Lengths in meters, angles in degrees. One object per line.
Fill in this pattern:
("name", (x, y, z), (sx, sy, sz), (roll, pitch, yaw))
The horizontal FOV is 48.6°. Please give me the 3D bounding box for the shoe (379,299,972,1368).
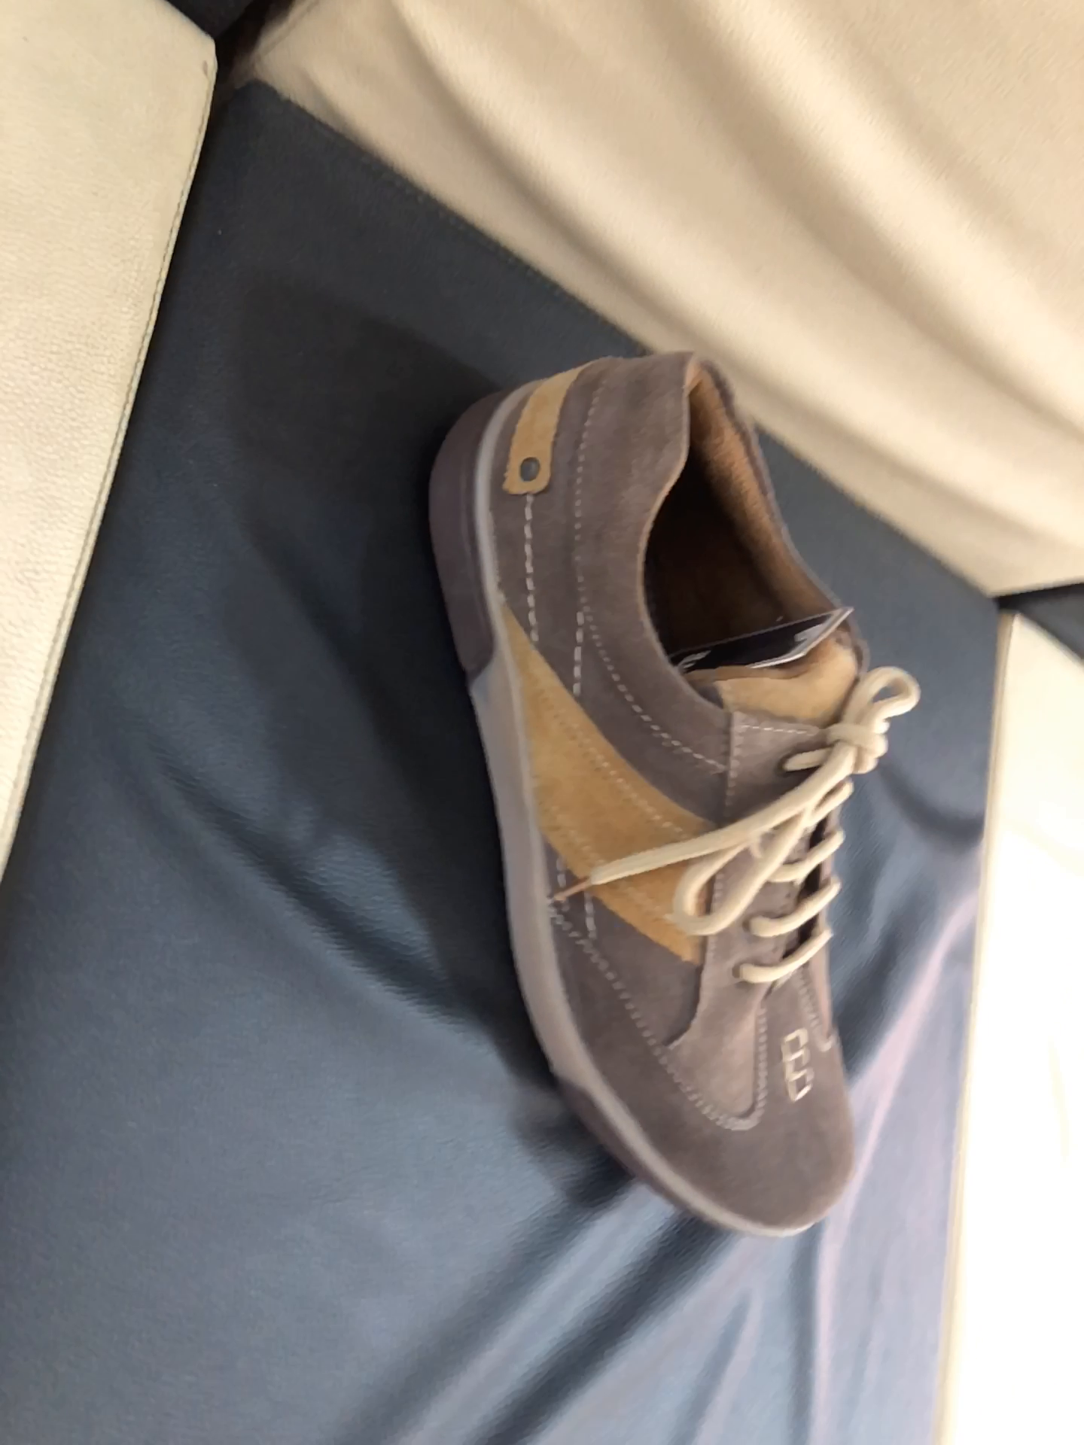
("shoe", (0.046, 0.027, 0.376), (0.101, 0.079, 0.290), (-18, 97, -41))
